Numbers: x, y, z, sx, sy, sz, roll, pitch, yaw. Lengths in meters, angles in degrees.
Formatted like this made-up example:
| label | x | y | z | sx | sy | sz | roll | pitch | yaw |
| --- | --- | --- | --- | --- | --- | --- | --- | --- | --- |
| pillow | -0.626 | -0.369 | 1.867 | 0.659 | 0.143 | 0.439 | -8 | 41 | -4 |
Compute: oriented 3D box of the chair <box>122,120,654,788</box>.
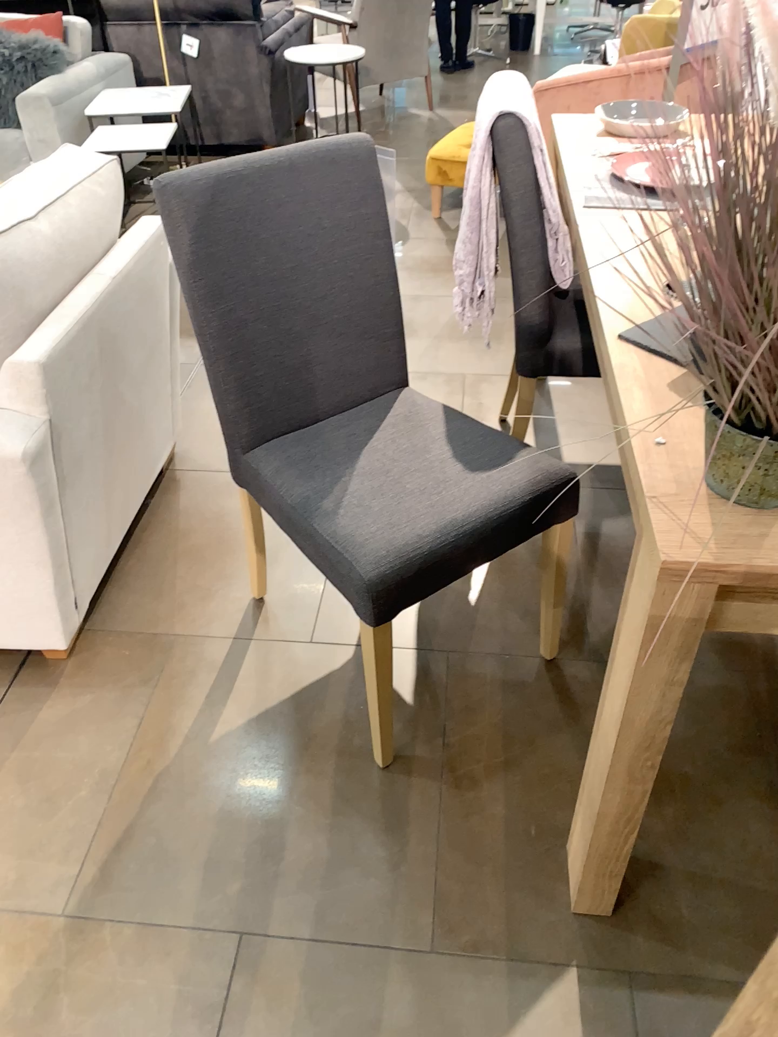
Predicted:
| label | x | y | z | sx | sy | sz | roll | pitch | yaw |
| --- | --- | --- | --- | --- | --- | --- | --- | --- | --- |
| chair | -0.023 | -0.128 | 1.412 | 0.507 | 0.889 | 0.618 | -24 | 44 | -25 |
